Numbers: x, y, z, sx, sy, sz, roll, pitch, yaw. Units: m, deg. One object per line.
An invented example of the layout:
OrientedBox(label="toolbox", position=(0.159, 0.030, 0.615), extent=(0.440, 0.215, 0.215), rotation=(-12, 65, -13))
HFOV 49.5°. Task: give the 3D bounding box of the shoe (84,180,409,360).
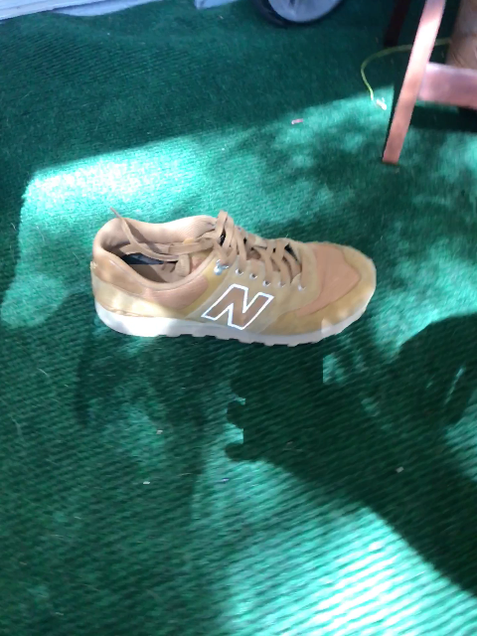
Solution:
OrientedBox(label="shoe", position=(0.004, -0.045, 0.485), extent=(0.260, 0.099, 0.111), rotation=(-5, 54, -3))
